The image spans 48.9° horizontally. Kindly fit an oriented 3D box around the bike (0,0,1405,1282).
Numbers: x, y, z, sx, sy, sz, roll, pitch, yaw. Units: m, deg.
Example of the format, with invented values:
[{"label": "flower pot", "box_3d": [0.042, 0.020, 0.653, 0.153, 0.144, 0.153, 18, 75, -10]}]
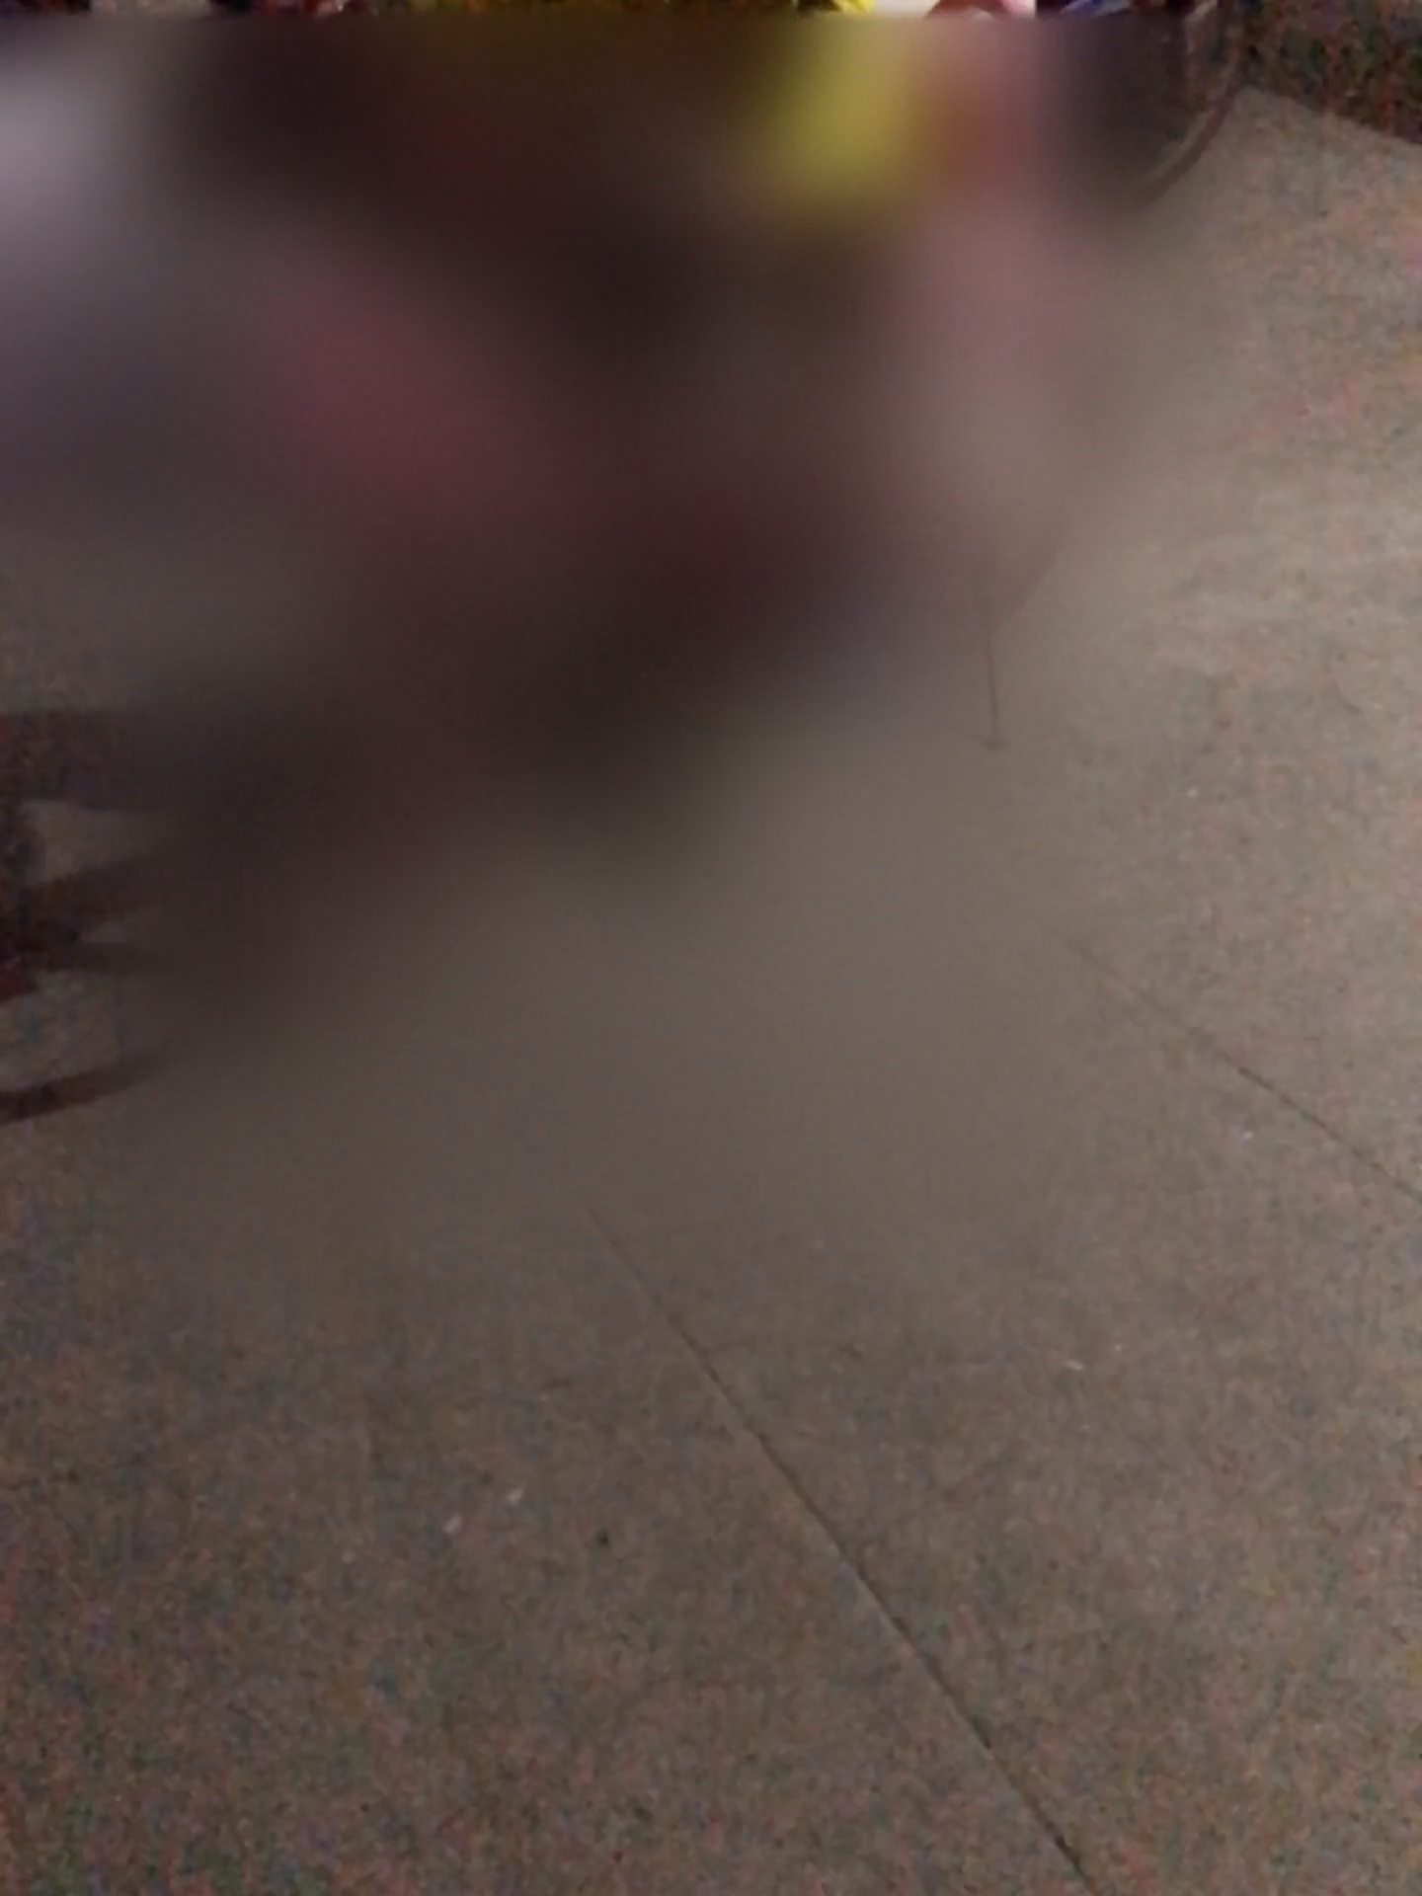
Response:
[{"label": "bike", "box_3d": [0.079, -0.462, 1.576, 1.282, 0.910, 0.494, -31, 43, -27]}]
